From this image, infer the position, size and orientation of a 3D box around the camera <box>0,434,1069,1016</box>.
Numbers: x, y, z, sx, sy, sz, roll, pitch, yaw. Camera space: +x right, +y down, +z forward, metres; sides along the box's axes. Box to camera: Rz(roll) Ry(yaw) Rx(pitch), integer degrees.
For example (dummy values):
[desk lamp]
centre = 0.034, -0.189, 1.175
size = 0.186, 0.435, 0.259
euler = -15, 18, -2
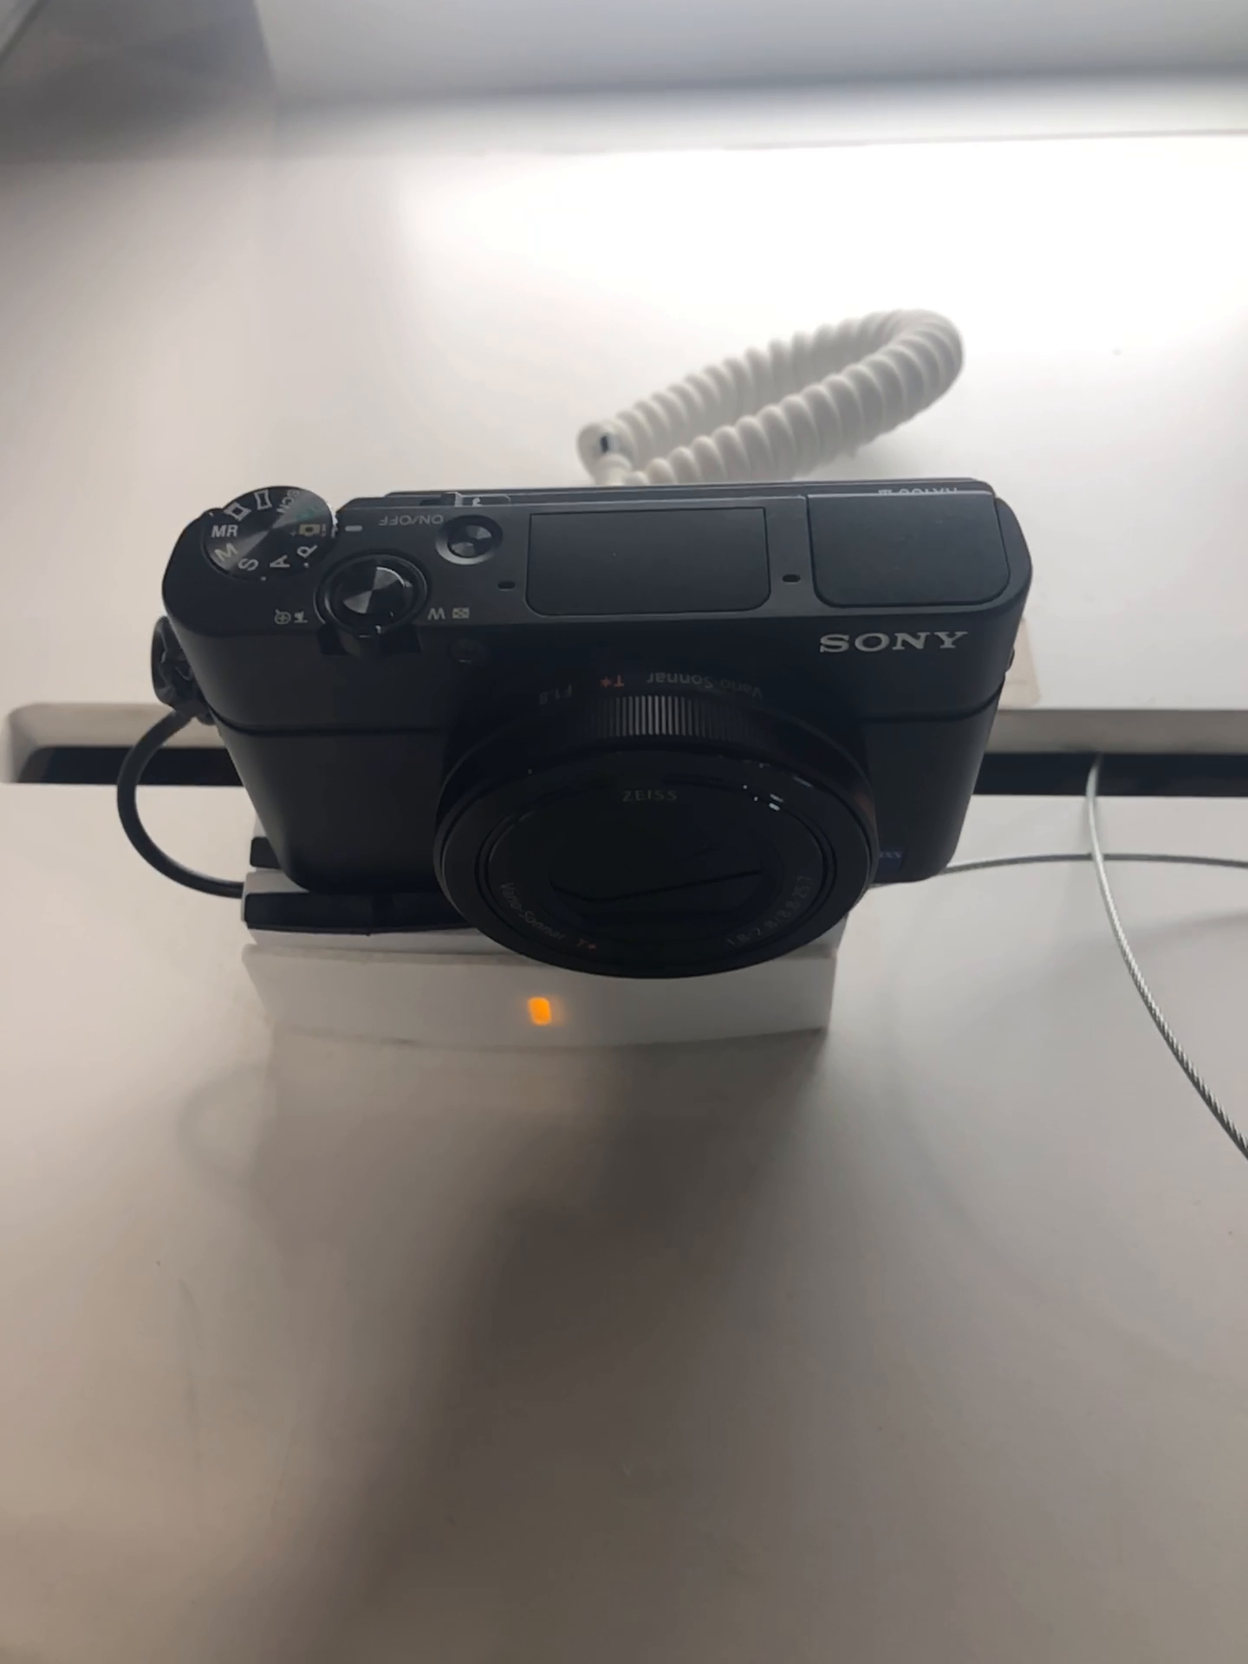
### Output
[camera]
centre = -0.008, -0.010, 0.165
size = 0.102, 0.051, 0.041
euler = -2, 52, 3
